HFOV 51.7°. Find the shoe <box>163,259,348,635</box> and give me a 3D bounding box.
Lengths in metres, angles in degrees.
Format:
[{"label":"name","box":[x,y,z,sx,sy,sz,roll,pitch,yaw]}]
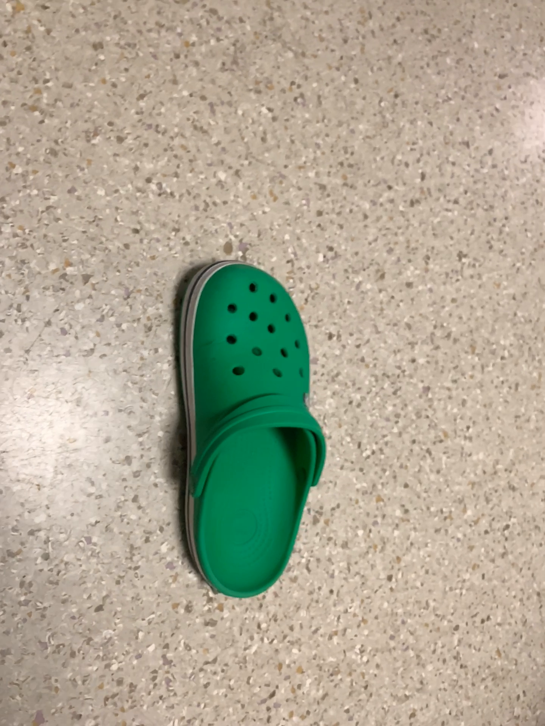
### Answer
[{"label":"shoe","box":[-0.013,0.053,0.414,0.108,0.082,0.234,2,88,-28]}]
